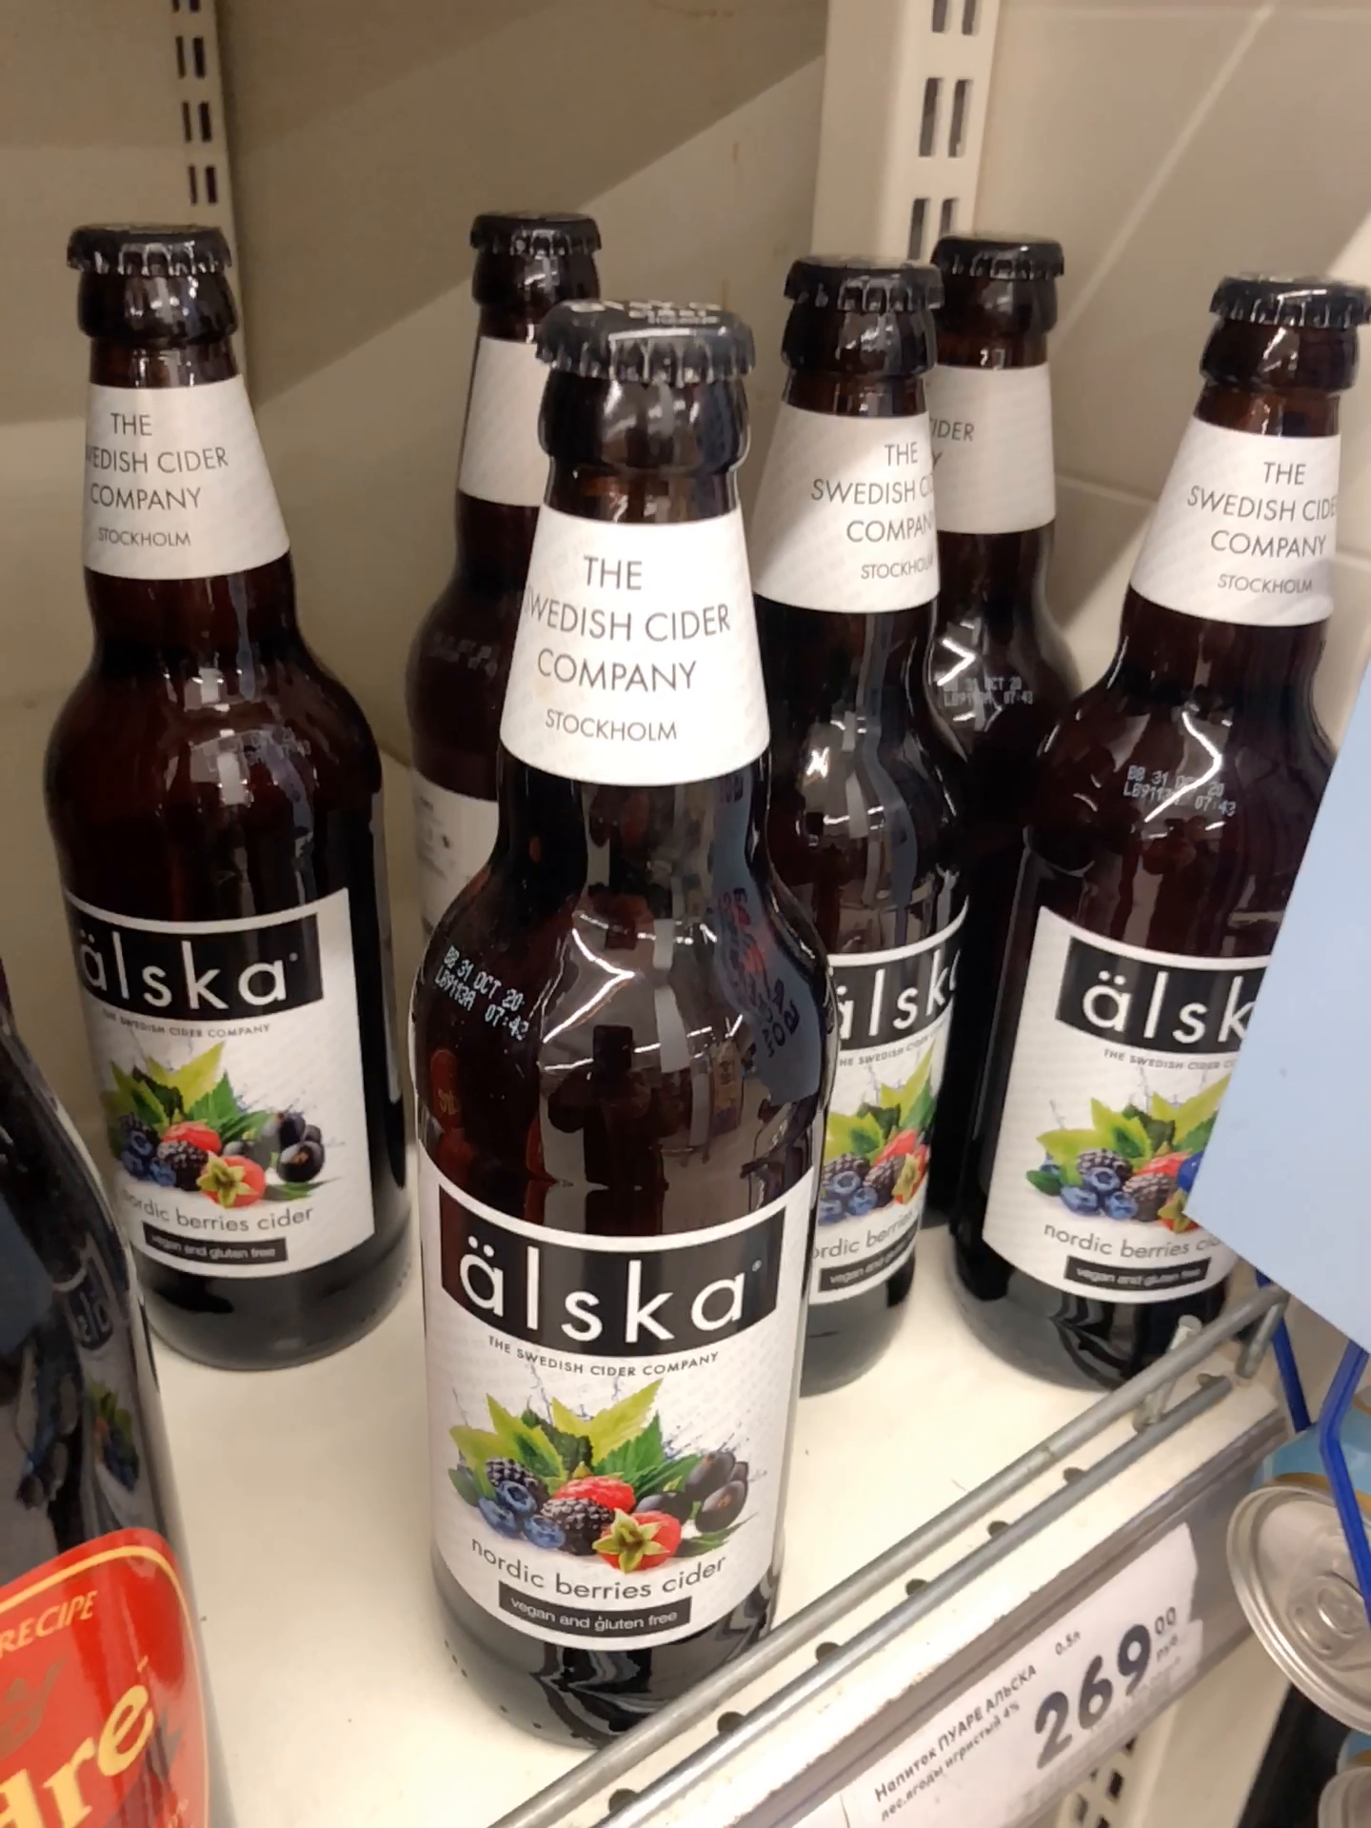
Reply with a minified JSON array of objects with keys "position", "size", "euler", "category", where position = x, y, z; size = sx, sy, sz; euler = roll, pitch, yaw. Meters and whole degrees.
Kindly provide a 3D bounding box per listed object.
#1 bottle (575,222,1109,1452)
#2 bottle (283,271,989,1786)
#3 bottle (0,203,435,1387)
[{"position":[0.024,-0.010,0.324],"size":[0.063,0.243,0.070],"euler":[26,36,37],"category":"bottle"},{"position":[-0.009,0.030,0.232],"size":[0.070,0.229,0.063],"euler":[2,28,0],"category":"bottle"},{"position":[-0.100,-0.016,0.322],"size":[0.075,0.235,0.077],"euler":[2,28,-1],"category":"bottle"}]
